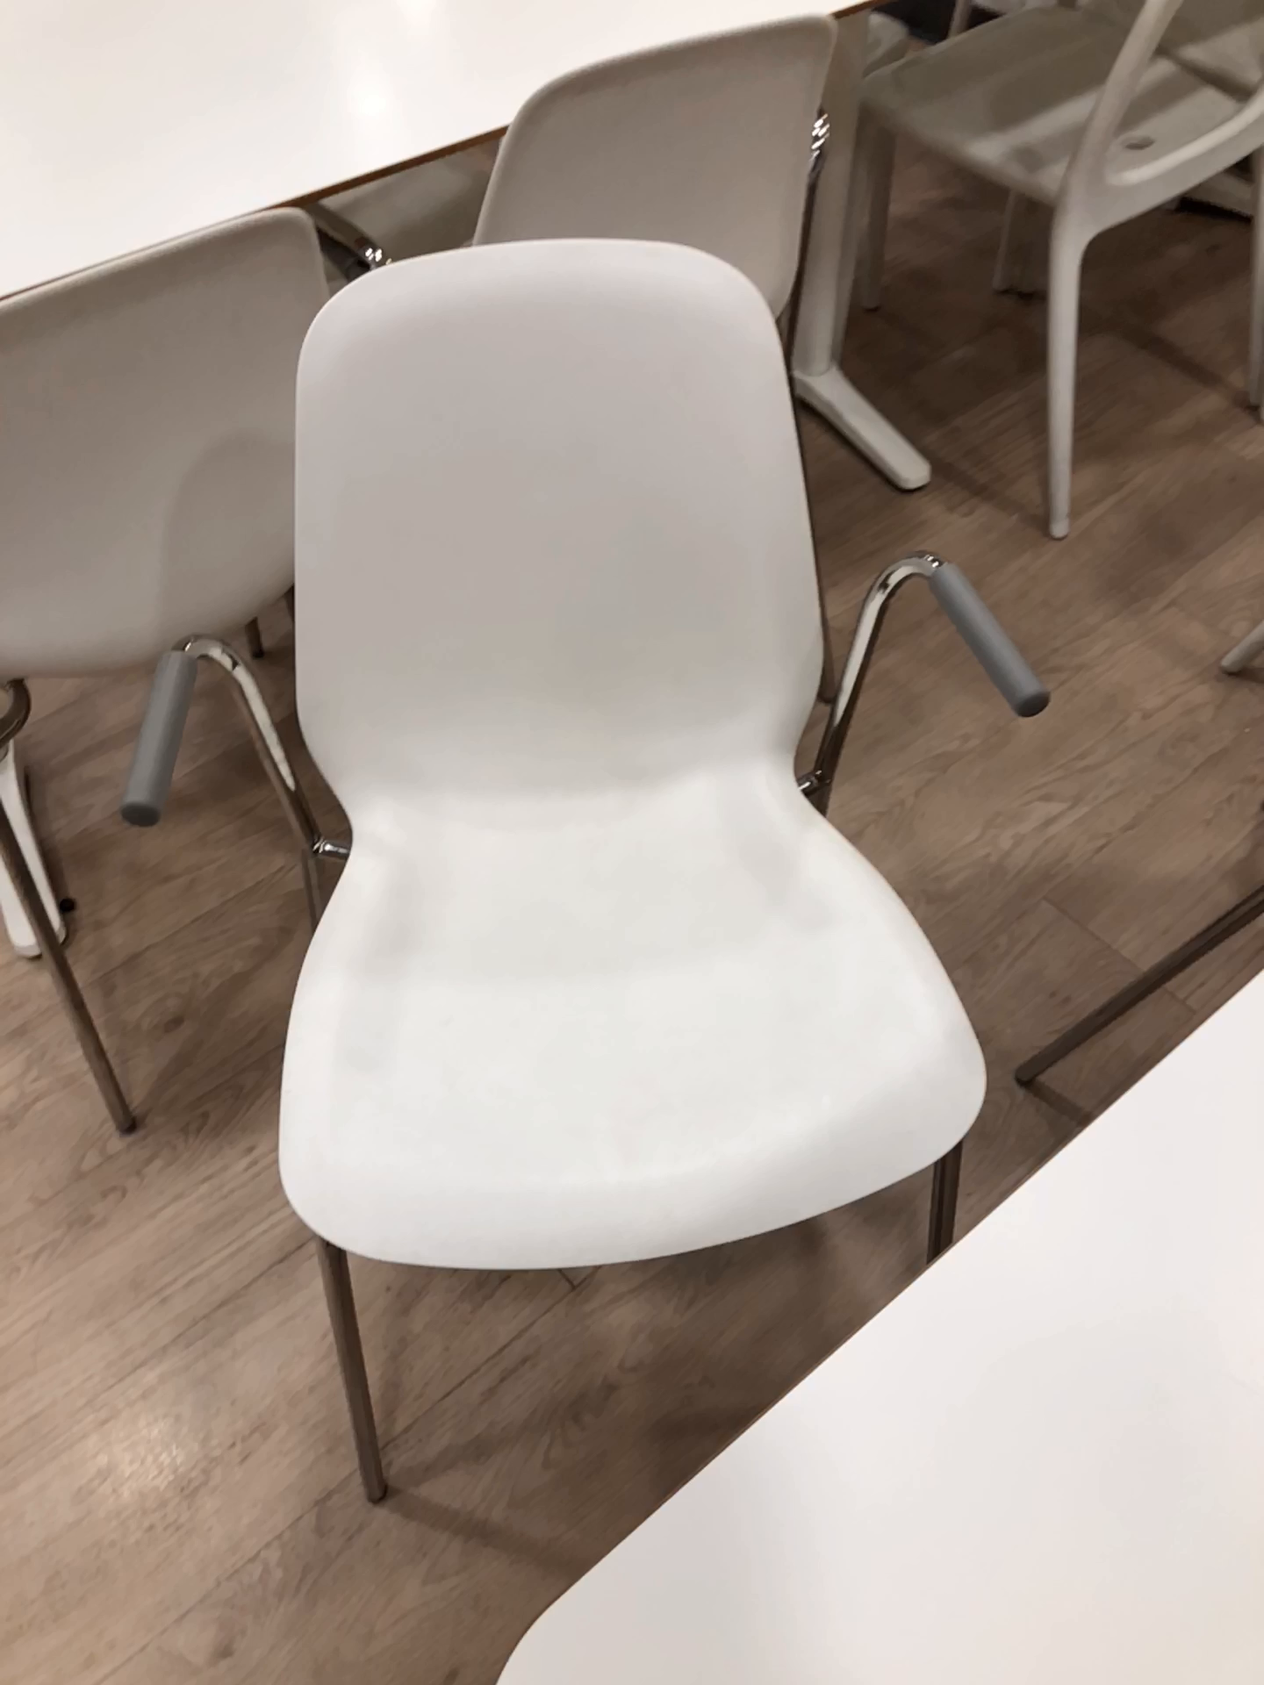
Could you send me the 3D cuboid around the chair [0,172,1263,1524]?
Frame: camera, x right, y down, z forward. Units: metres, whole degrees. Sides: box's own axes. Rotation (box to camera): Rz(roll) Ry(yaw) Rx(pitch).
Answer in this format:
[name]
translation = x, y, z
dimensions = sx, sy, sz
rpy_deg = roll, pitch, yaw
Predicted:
[chair]
translation = 0.001, 0.061, 1.010
dimensions = 0.570, 0.805, 0.533
rpy_deg = -7, 51, -5
